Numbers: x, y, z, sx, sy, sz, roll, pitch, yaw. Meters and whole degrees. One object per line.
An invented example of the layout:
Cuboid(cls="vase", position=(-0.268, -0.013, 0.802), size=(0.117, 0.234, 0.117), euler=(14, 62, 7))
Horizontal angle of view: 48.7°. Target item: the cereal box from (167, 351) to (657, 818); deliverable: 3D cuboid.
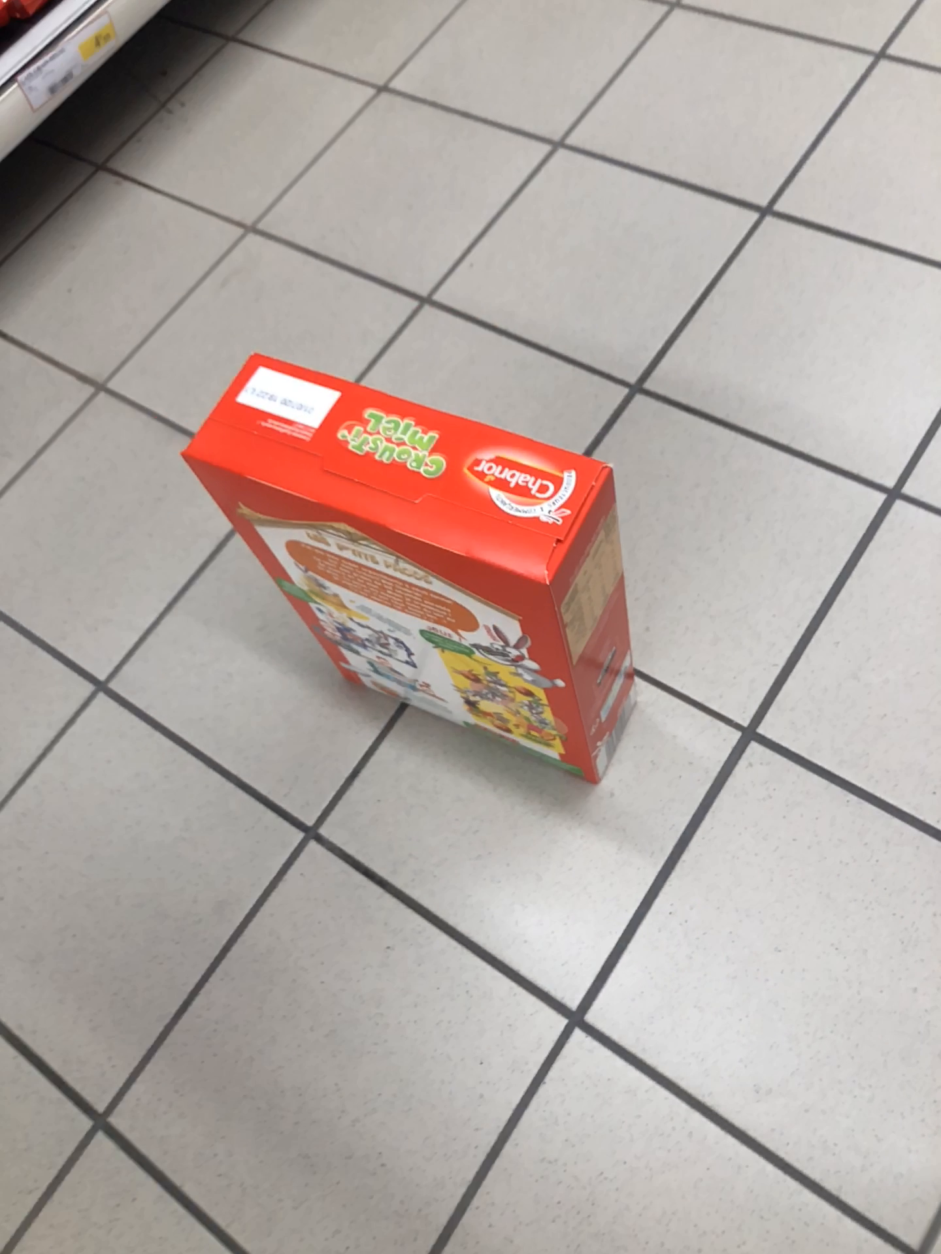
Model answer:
Cuboid(cls="cereal box", position=(-0.009, -0.007, 0.563), size=(0.200, 0.269, 0.070), euler=(21, 69, 21))
